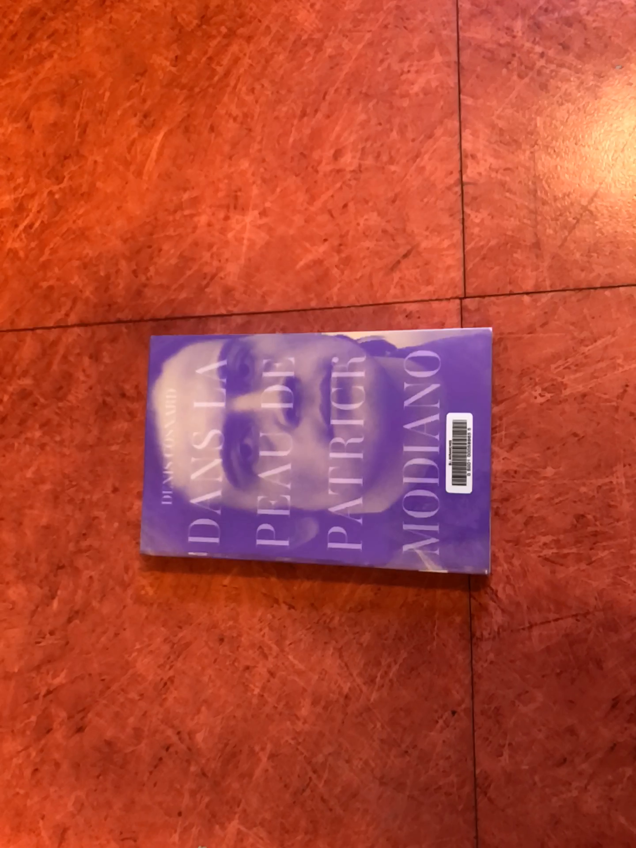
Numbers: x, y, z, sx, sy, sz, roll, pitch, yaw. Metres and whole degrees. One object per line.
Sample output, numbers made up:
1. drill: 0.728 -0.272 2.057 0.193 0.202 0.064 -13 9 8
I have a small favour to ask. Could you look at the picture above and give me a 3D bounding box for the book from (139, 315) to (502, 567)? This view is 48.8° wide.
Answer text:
1. book: 0.000 0.009 0.459 0.232 0.030 0.150 0 84 14
